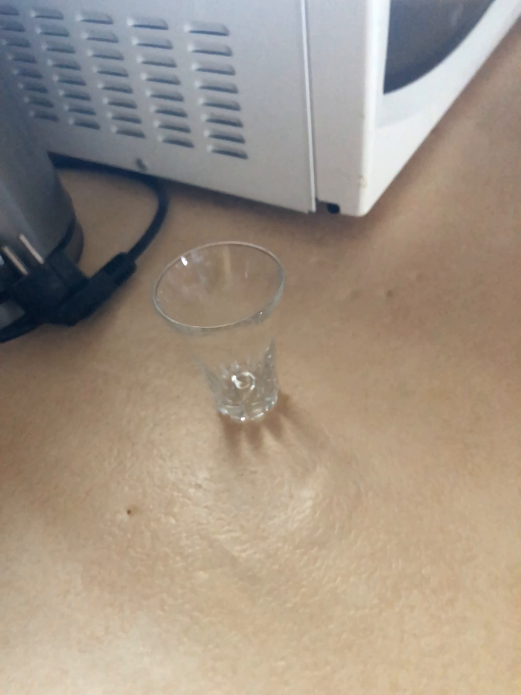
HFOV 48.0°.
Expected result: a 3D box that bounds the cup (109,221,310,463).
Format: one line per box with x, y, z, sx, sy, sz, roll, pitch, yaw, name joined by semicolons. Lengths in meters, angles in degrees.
-0.017;-0.002;0.240;0.050;0.070;0.050;-5;45;5;cup
